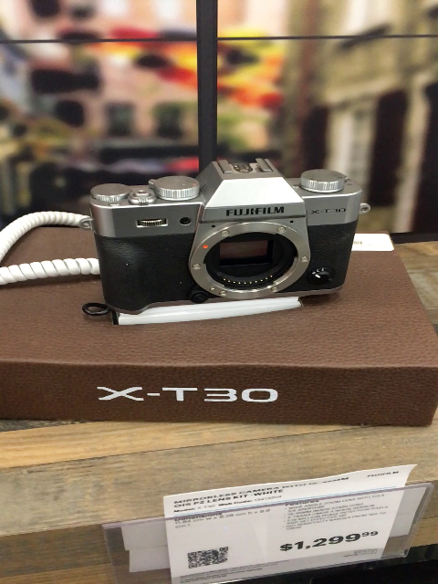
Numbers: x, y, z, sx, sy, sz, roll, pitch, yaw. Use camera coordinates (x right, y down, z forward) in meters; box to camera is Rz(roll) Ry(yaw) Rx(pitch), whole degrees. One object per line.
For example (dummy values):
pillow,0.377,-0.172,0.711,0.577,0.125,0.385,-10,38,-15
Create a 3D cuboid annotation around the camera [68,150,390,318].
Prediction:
camera,0.000,-0.033,0.297,0.142,0.057,0.067,-5,36,-8
